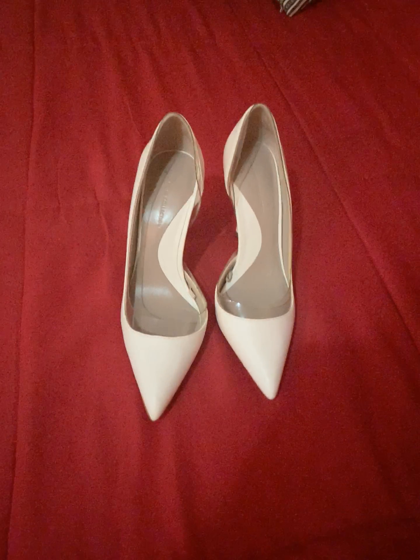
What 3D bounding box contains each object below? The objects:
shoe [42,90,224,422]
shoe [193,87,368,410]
[{"bbox_3d":[-0.042,-0.026,0.358,0.097,0.136,0.244,1,54,-1],"label":"shoe"},{"bbox_3d":[0.038,-0.032,0.367,0.097,0.140,0.241,1,54,-1],"label":"shoe"}]
